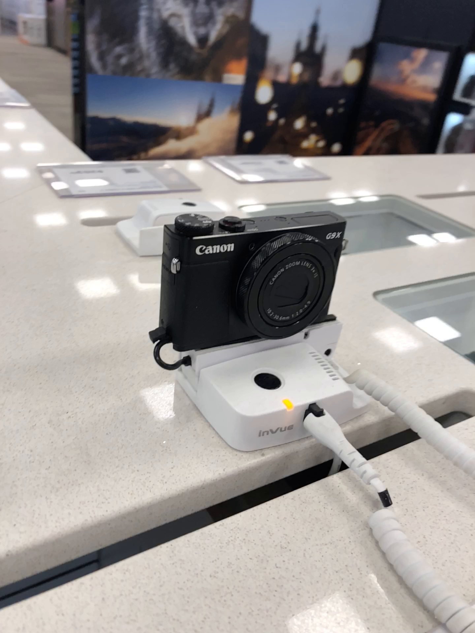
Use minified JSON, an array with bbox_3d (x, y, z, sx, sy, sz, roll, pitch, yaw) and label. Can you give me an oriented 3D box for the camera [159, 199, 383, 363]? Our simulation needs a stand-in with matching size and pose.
[{"bbox_3d":[0.016,-0.020,0.255,0.100,0.060,0.030,-11,34,-31],"label":"camera"}]
